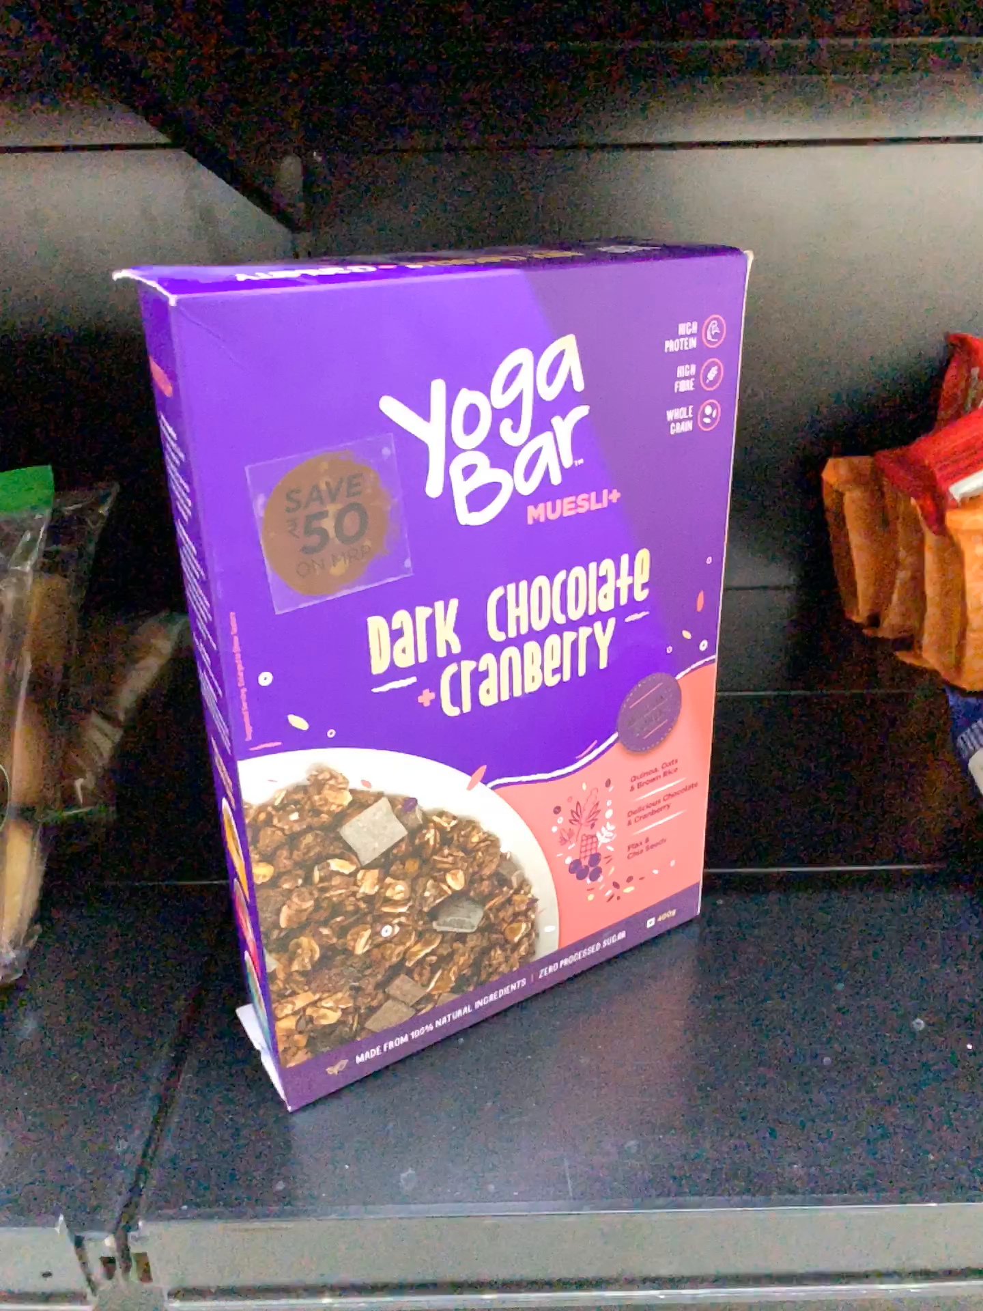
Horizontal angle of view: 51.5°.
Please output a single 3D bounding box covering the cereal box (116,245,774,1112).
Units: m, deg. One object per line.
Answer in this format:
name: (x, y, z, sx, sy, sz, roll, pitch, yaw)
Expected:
cereal box: (-0.004, 0.001, 0.313, 0.170, 0.228, 0.050, -14, 27, -28)
